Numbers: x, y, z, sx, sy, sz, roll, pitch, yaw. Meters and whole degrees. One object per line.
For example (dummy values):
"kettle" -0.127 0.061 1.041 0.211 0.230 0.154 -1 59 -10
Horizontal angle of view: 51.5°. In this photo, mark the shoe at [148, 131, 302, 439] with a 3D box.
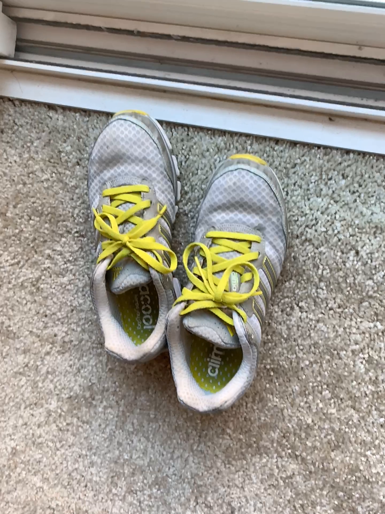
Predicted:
"shoe" 0.030 0.022 0.377 0.090 0.100 0.240 9 89 4

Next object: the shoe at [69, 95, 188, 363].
"shoe" -0.058 -0.022 0.396 0.090 0.100 0.230 -2 87 6
